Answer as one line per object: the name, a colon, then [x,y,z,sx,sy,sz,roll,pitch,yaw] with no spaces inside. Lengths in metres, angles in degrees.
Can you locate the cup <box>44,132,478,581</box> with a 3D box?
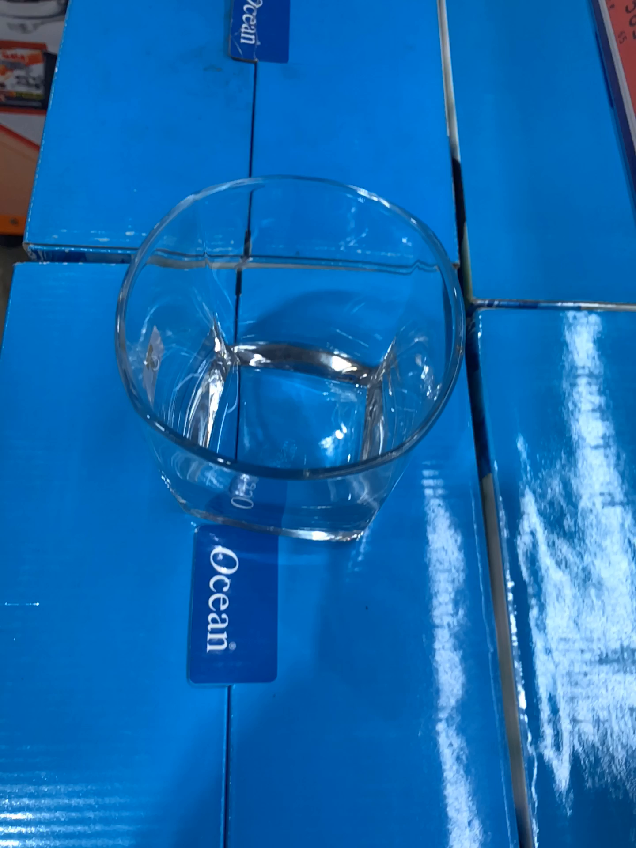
cup: [-0.010,-0.013,0.203,0.090,0.080,0.090,2,66,-4]
